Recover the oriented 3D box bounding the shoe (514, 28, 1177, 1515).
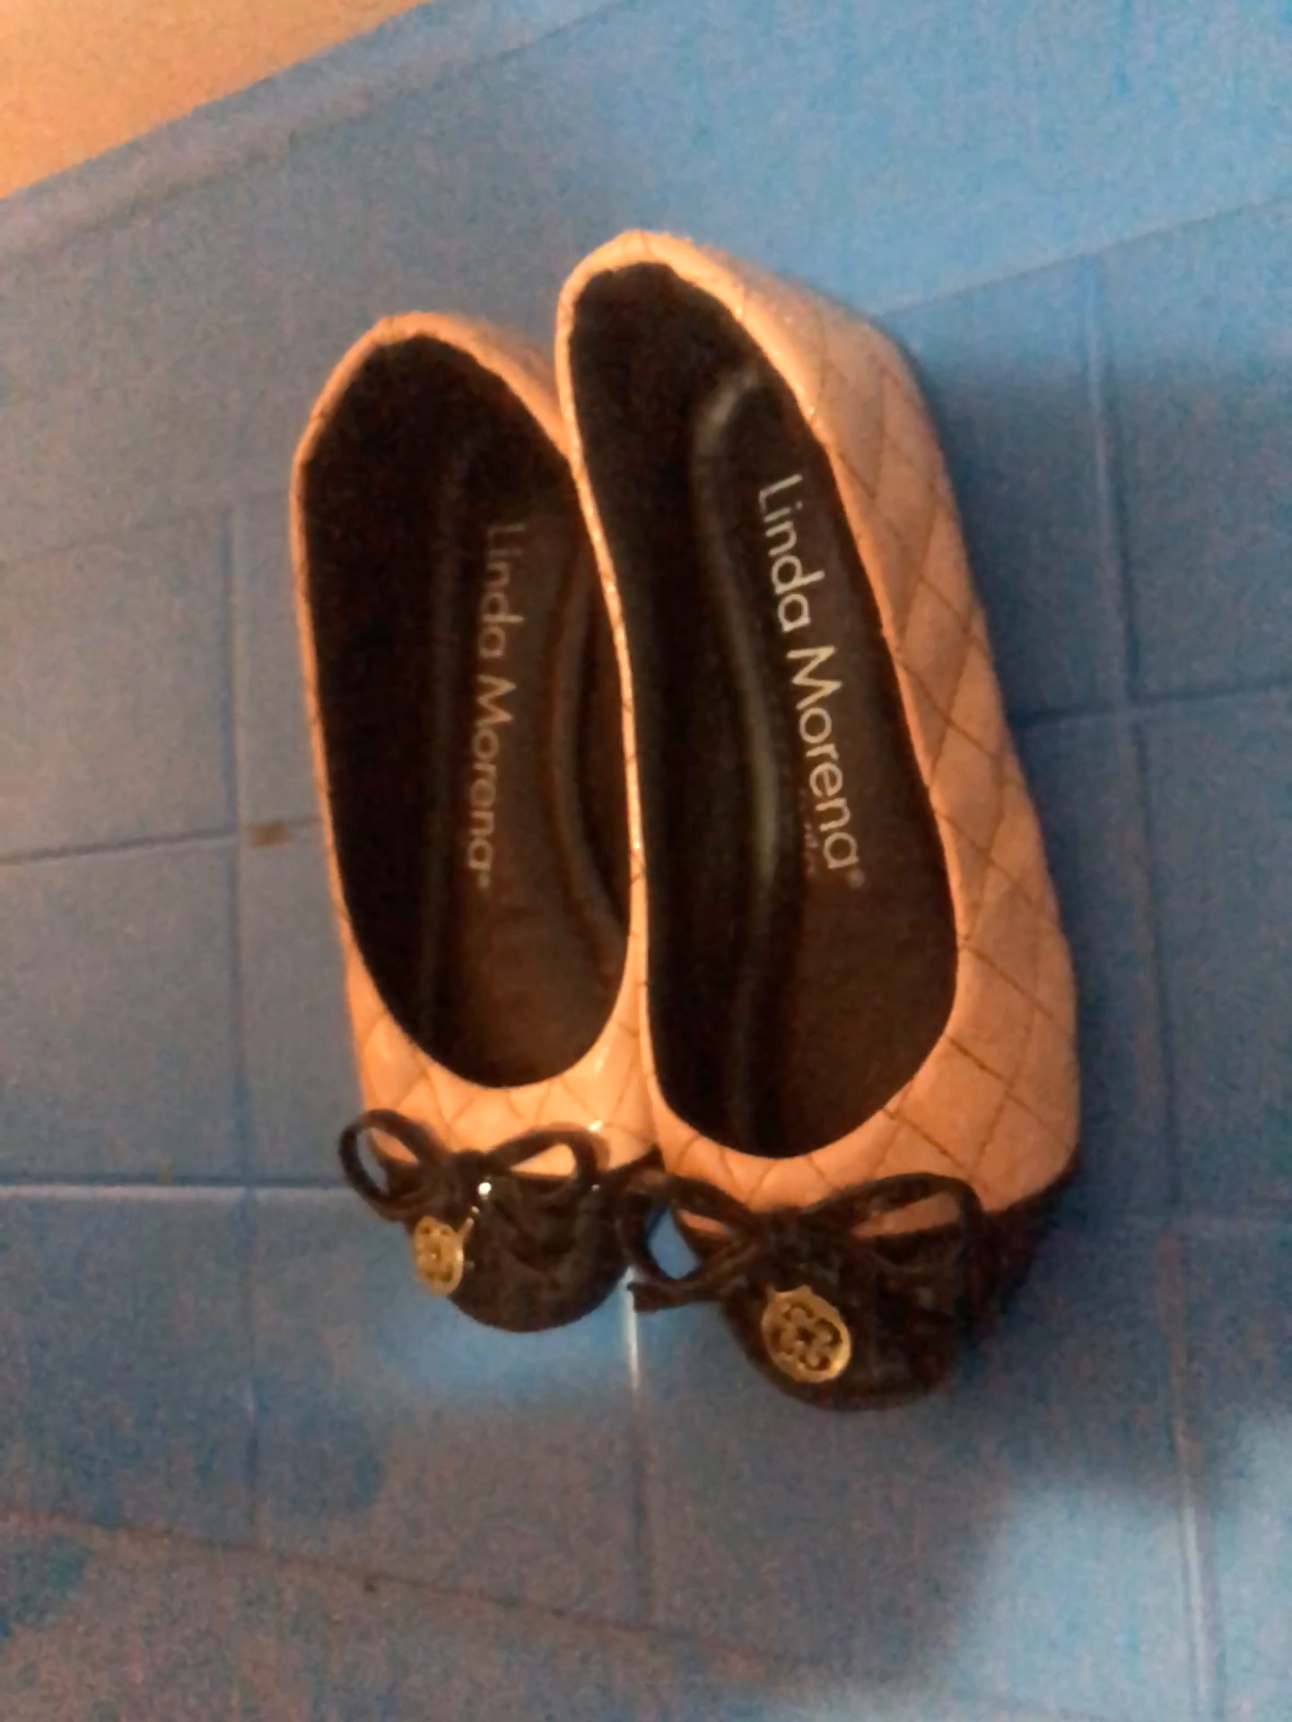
[{"bbox_3d":[0.035,-0.010,0.236,0.070,0.080,0.190,-6,86,28],"label":"shoe"}]

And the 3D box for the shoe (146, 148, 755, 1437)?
[{"bbox_3d":[-0.033,-0.009,0.265,0.070,0.080,0.190,-4,86,28],"label":"shoe"}]
